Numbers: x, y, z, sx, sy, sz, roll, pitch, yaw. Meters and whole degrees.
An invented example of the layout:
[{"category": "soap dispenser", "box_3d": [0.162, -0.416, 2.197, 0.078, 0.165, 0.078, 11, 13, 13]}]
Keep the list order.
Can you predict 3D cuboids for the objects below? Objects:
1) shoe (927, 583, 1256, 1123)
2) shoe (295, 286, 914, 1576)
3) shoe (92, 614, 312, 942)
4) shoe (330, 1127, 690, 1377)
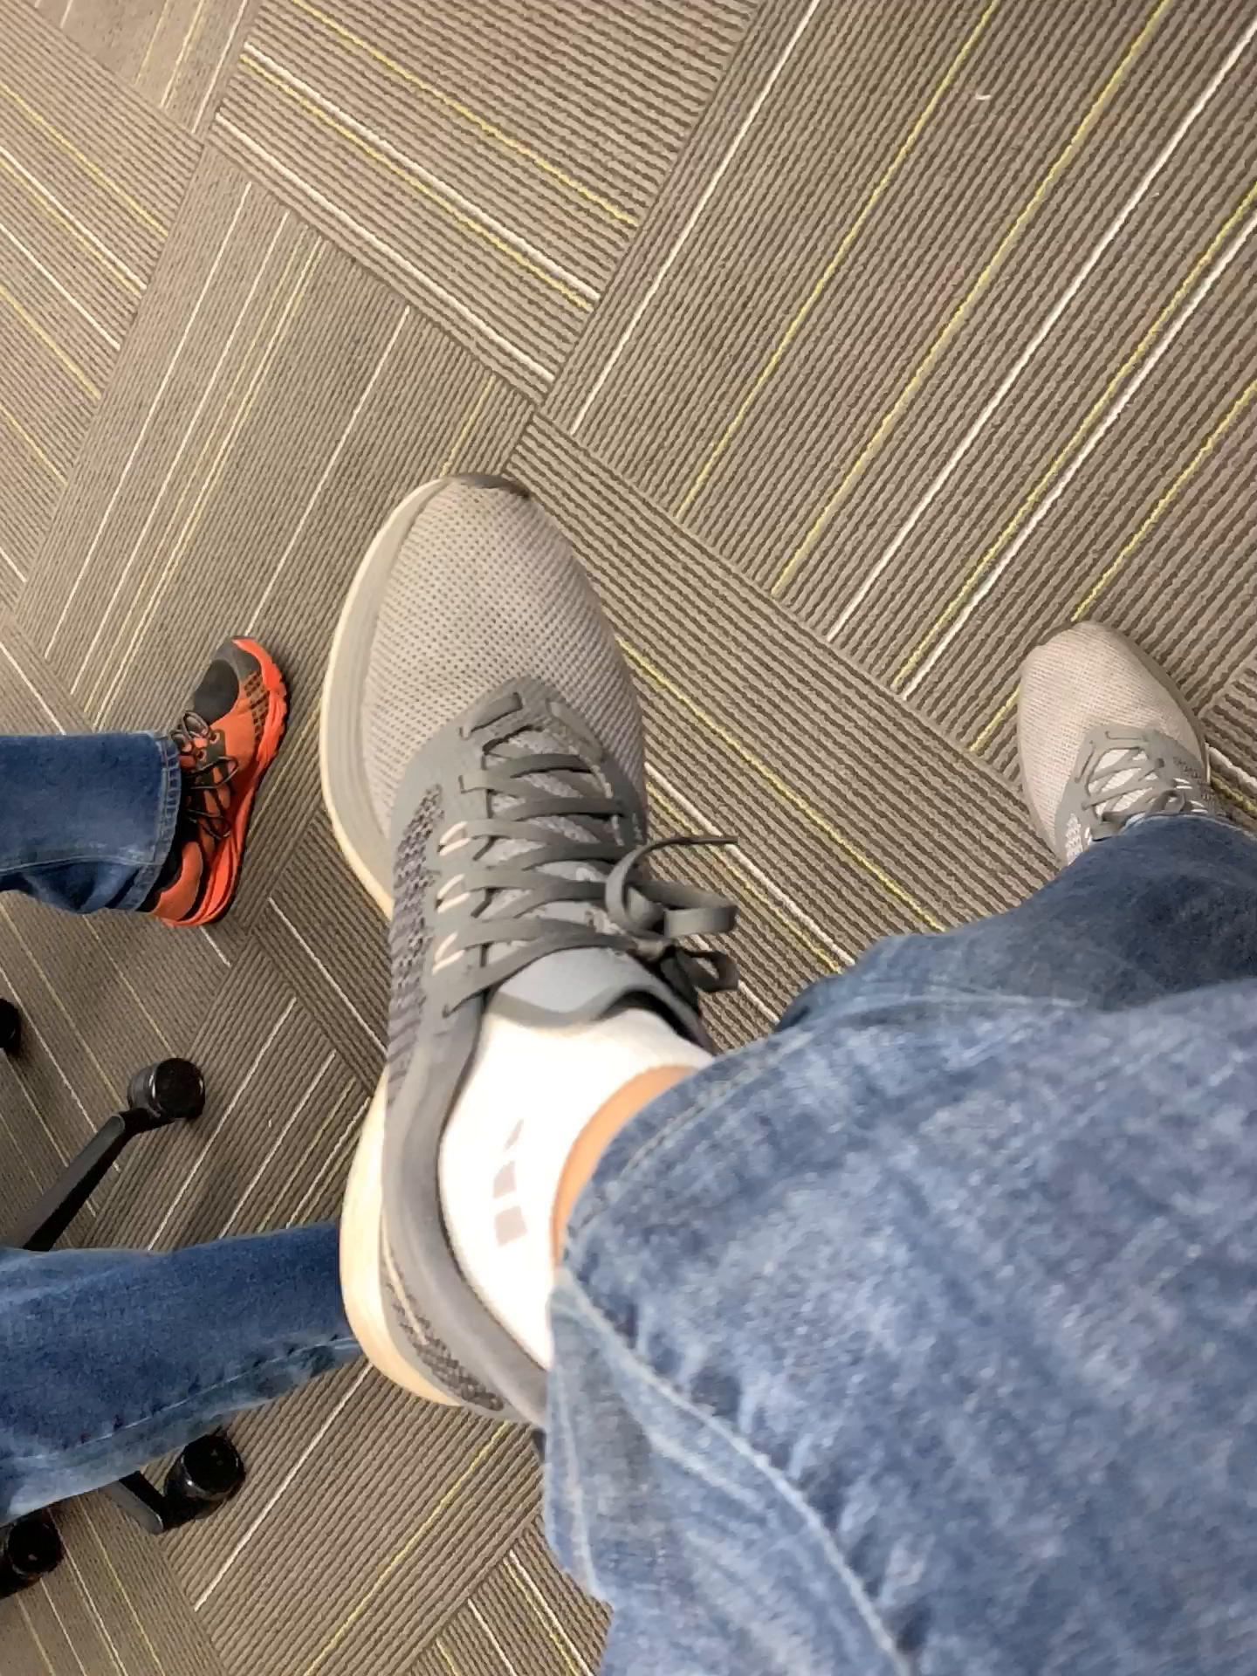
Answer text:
[{"category": "shoe", "box_3d": [0.312, 0.006, 0.770, 0.117, 0.074, 0.293, -36, 70, 30]}, {"category": "shoe", "box_3d": [-0.023, 0.020, 0.377, 0.142, 0.115, 0.294, 153, 113, -67]}, {"category": "shoe", "box_3d": [-0.429, -0.060, 1.285, 0.113, 0.107, 0.294, 24, 97, 53]}, {"category": "shoe", "box_3d": [-0.106, 0.354, 1.101, 0.277, 0.116, 0.112, -31, 63, 24]}]
